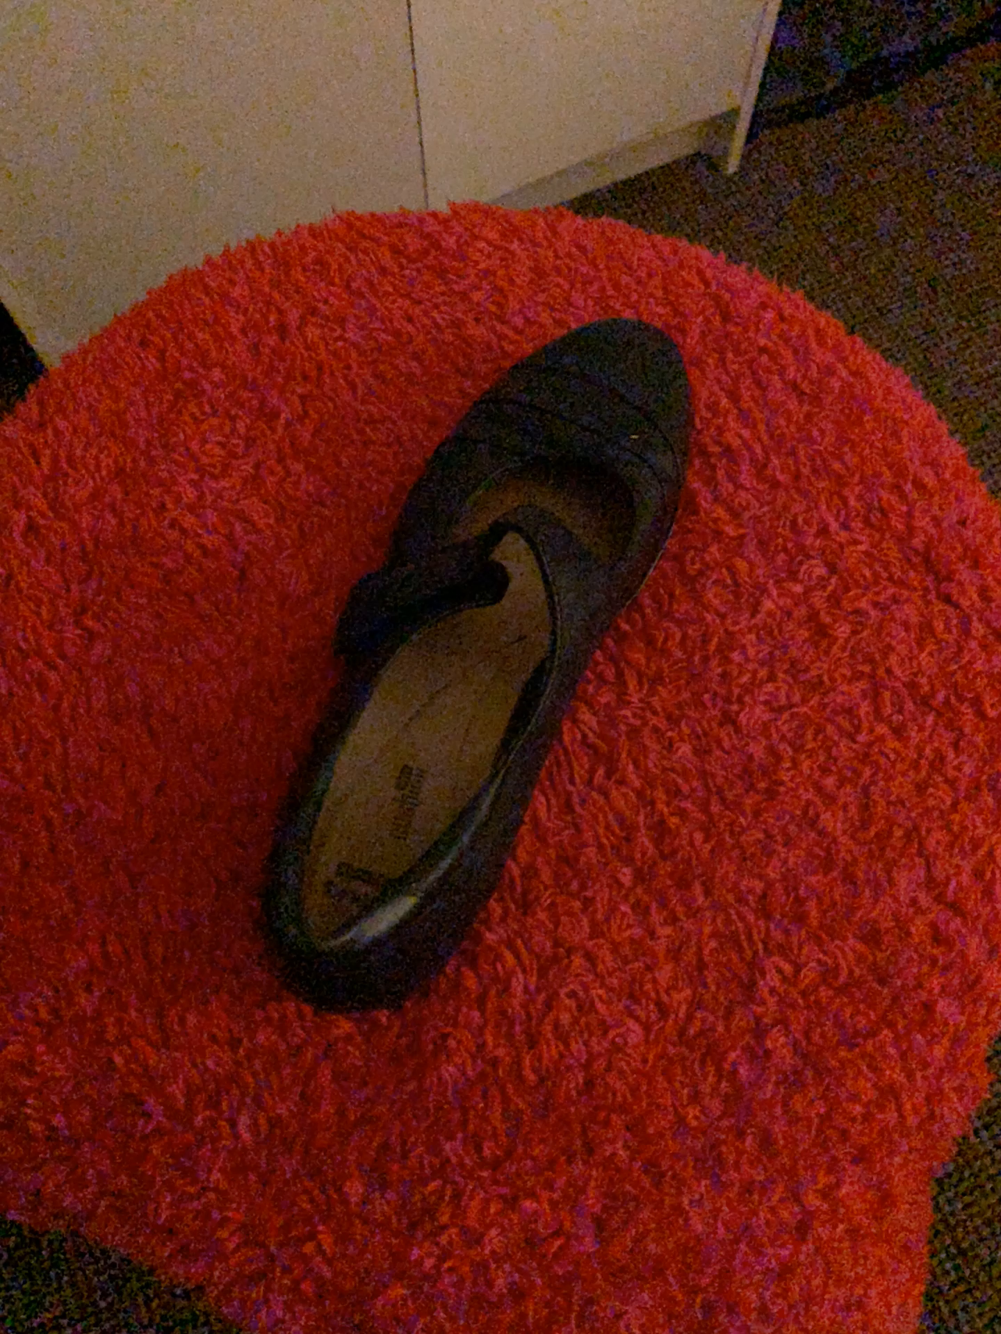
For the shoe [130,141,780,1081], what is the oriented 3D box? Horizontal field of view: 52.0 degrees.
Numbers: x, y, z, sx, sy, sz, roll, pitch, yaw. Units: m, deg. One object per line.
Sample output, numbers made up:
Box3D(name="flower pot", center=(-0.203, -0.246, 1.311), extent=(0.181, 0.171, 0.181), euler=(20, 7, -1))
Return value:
Box3D(name="shoe", center=(0.001, -0.026, 0.325), extent=(0.093, 0.080, 0.276), euler=(18, 70, 8))
